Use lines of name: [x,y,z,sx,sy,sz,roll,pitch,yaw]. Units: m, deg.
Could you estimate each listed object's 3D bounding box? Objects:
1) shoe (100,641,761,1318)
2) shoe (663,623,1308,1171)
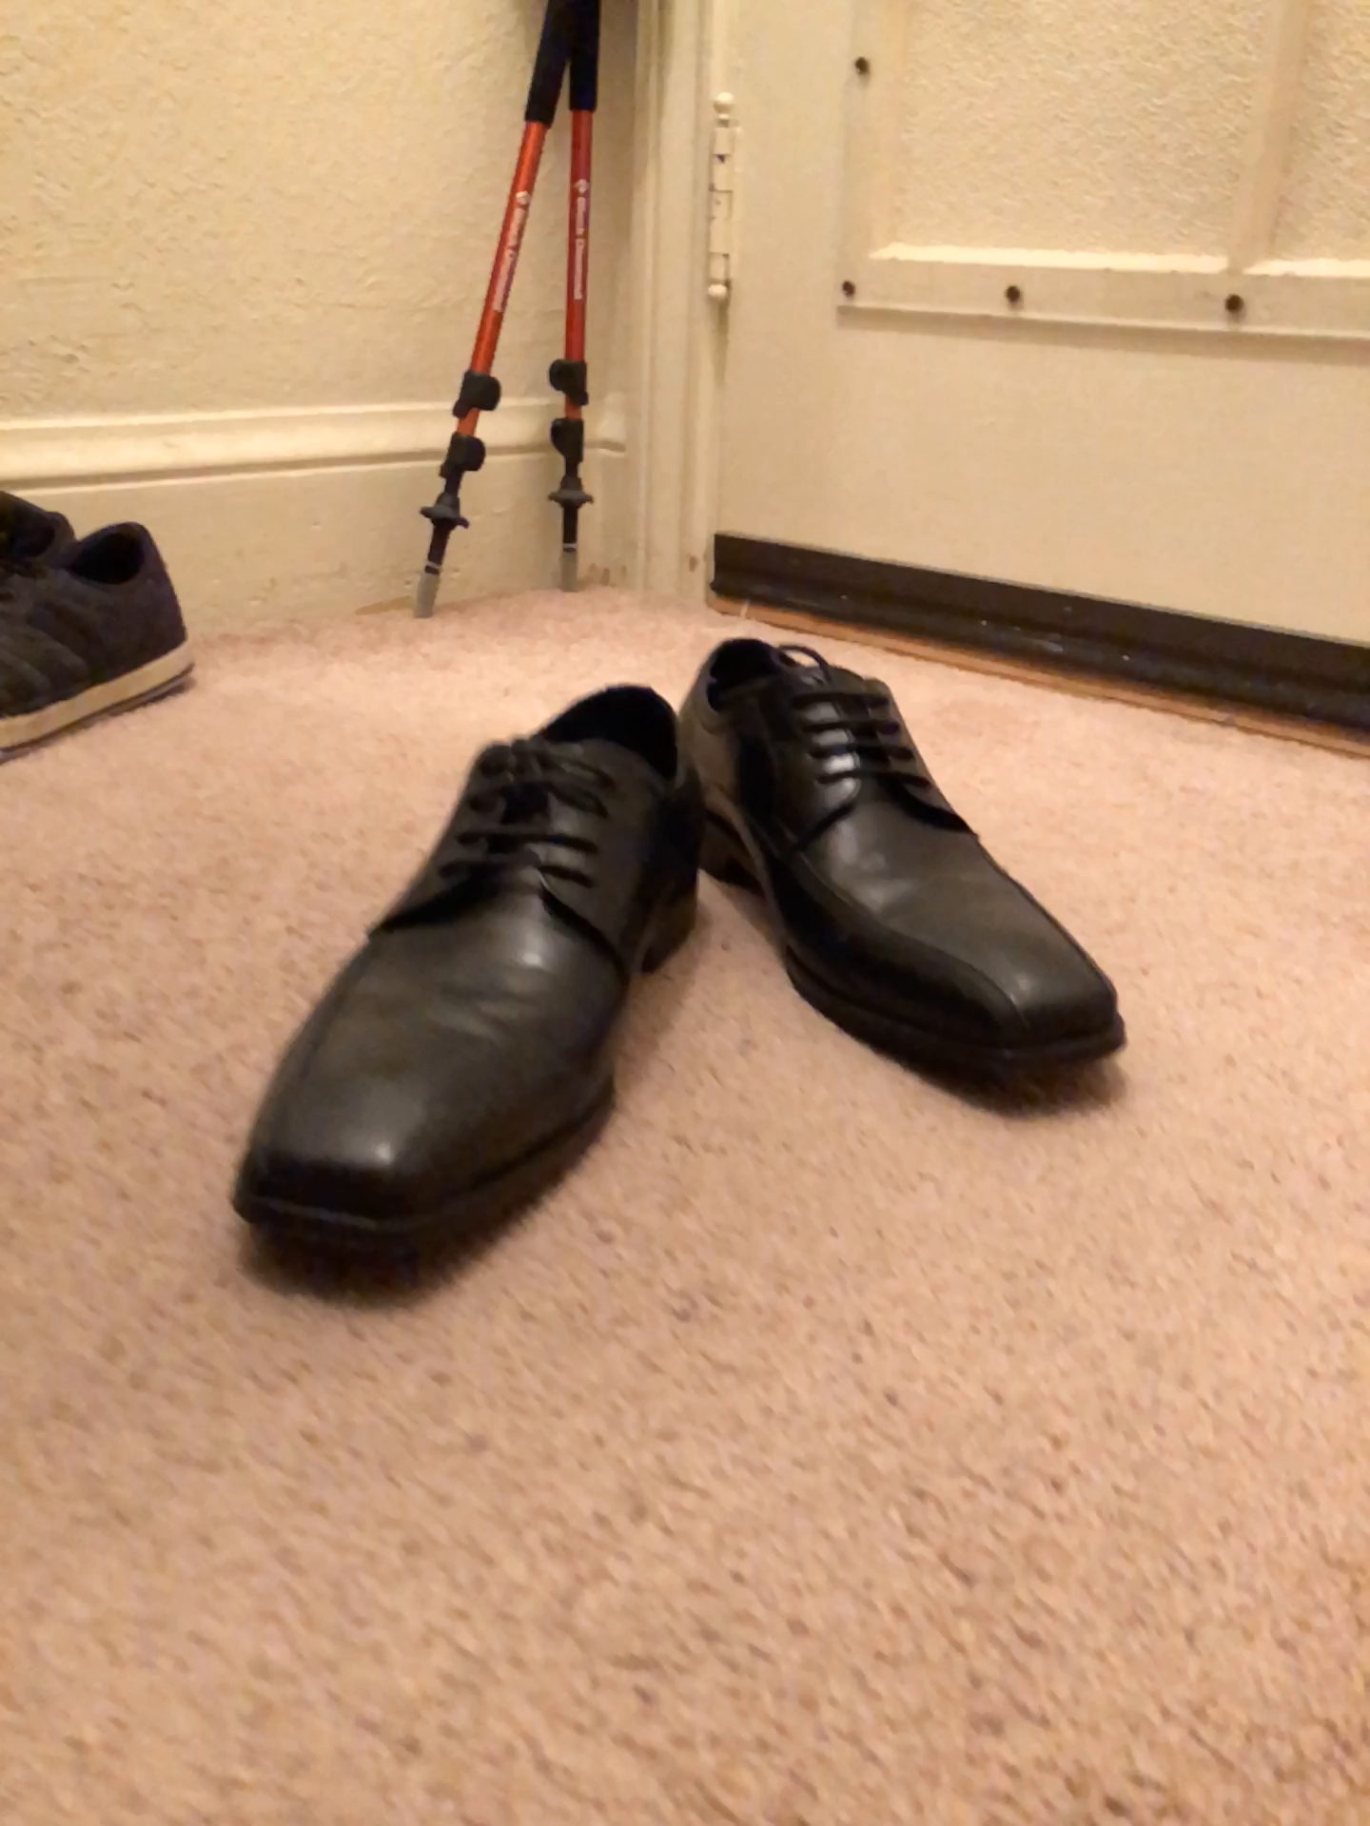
shoe: [-0.060,-0.004,0.515,0.110,0.107,0.285,8,24,12]
shoe: [0.096,-0.030,0.620,0.115,0.110,0.298,-6,25,-19]
